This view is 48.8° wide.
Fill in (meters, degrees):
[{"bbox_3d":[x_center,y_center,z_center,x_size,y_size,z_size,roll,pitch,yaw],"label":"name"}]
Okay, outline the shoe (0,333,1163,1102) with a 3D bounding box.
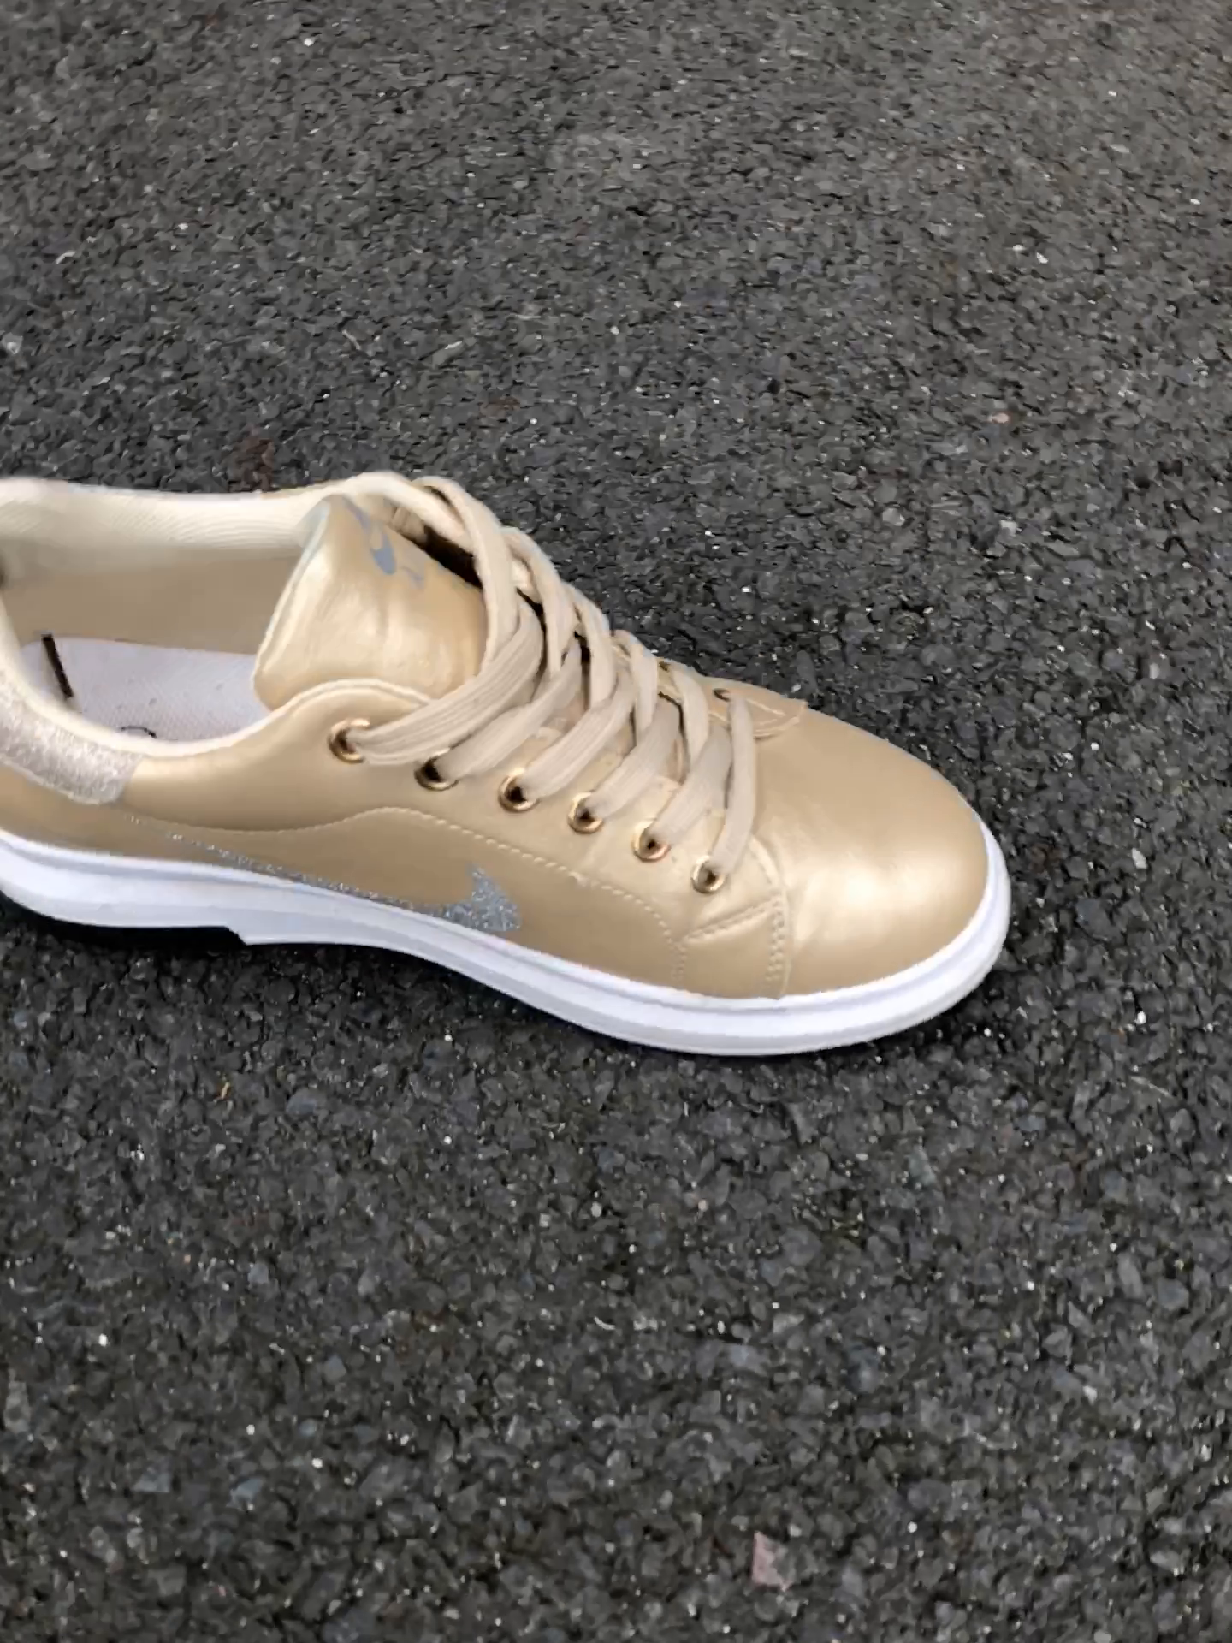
[{"bbox_3d":[-0.032,-0.021,0.313,0.260,0.100,0.117,5,56,-1],"label":"shoe"}]
